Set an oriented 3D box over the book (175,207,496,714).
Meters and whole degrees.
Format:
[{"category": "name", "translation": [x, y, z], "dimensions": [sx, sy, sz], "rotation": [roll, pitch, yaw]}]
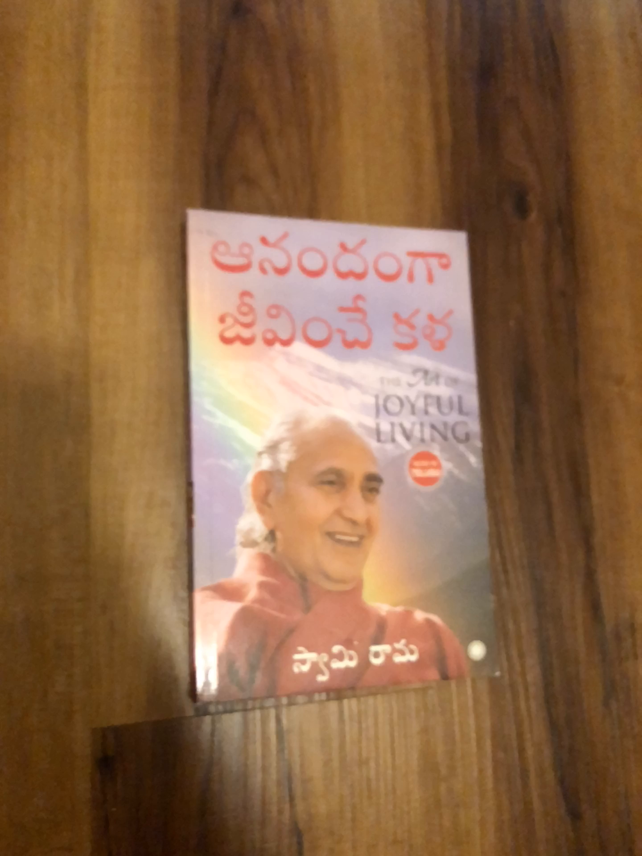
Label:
[{"category": "book", "translation": [0.006, 0.011, 0.340], "dimensions": [0.144, 0.020, 0.219], "rotation": [0, 83, -15]}]
